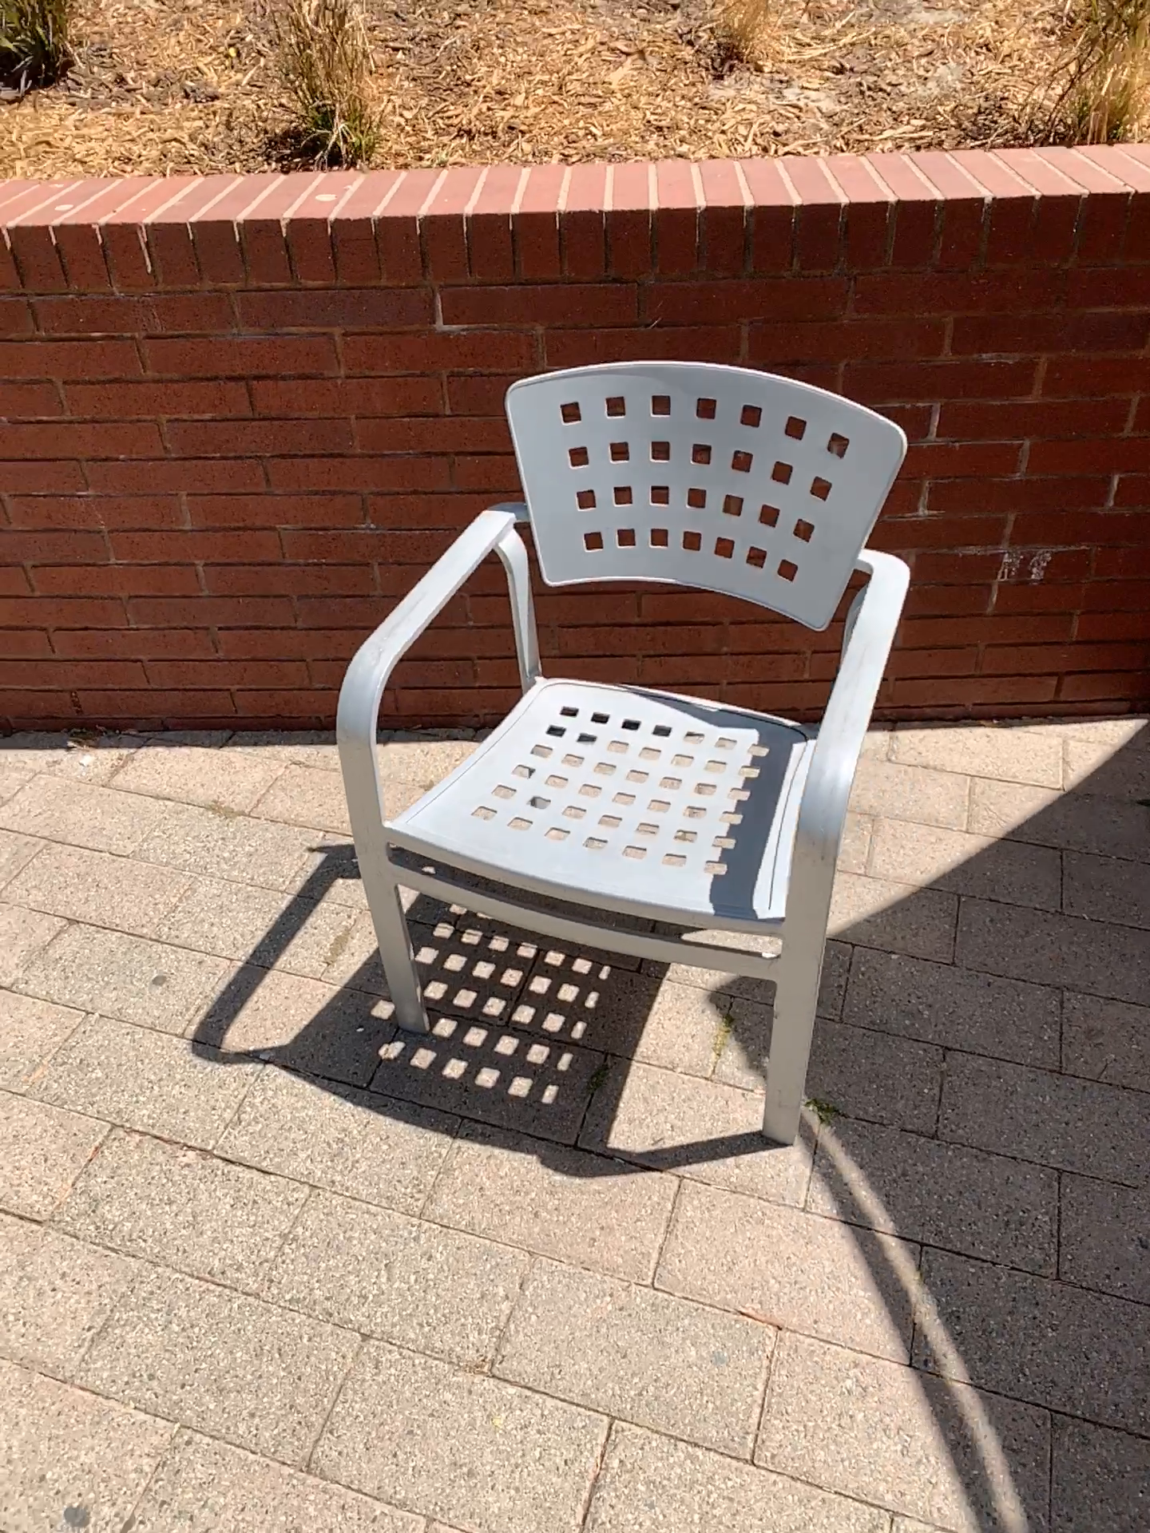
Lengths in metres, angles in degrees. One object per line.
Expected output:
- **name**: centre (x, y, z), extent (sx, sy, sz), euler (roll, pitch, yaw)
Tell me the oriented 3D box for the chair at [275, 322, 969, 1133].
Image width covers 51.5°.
- **chair**: centre (0.086, -0.061, 1.384), extent (0.562, 0.698, 0.499), euler (11, 40, 16)
